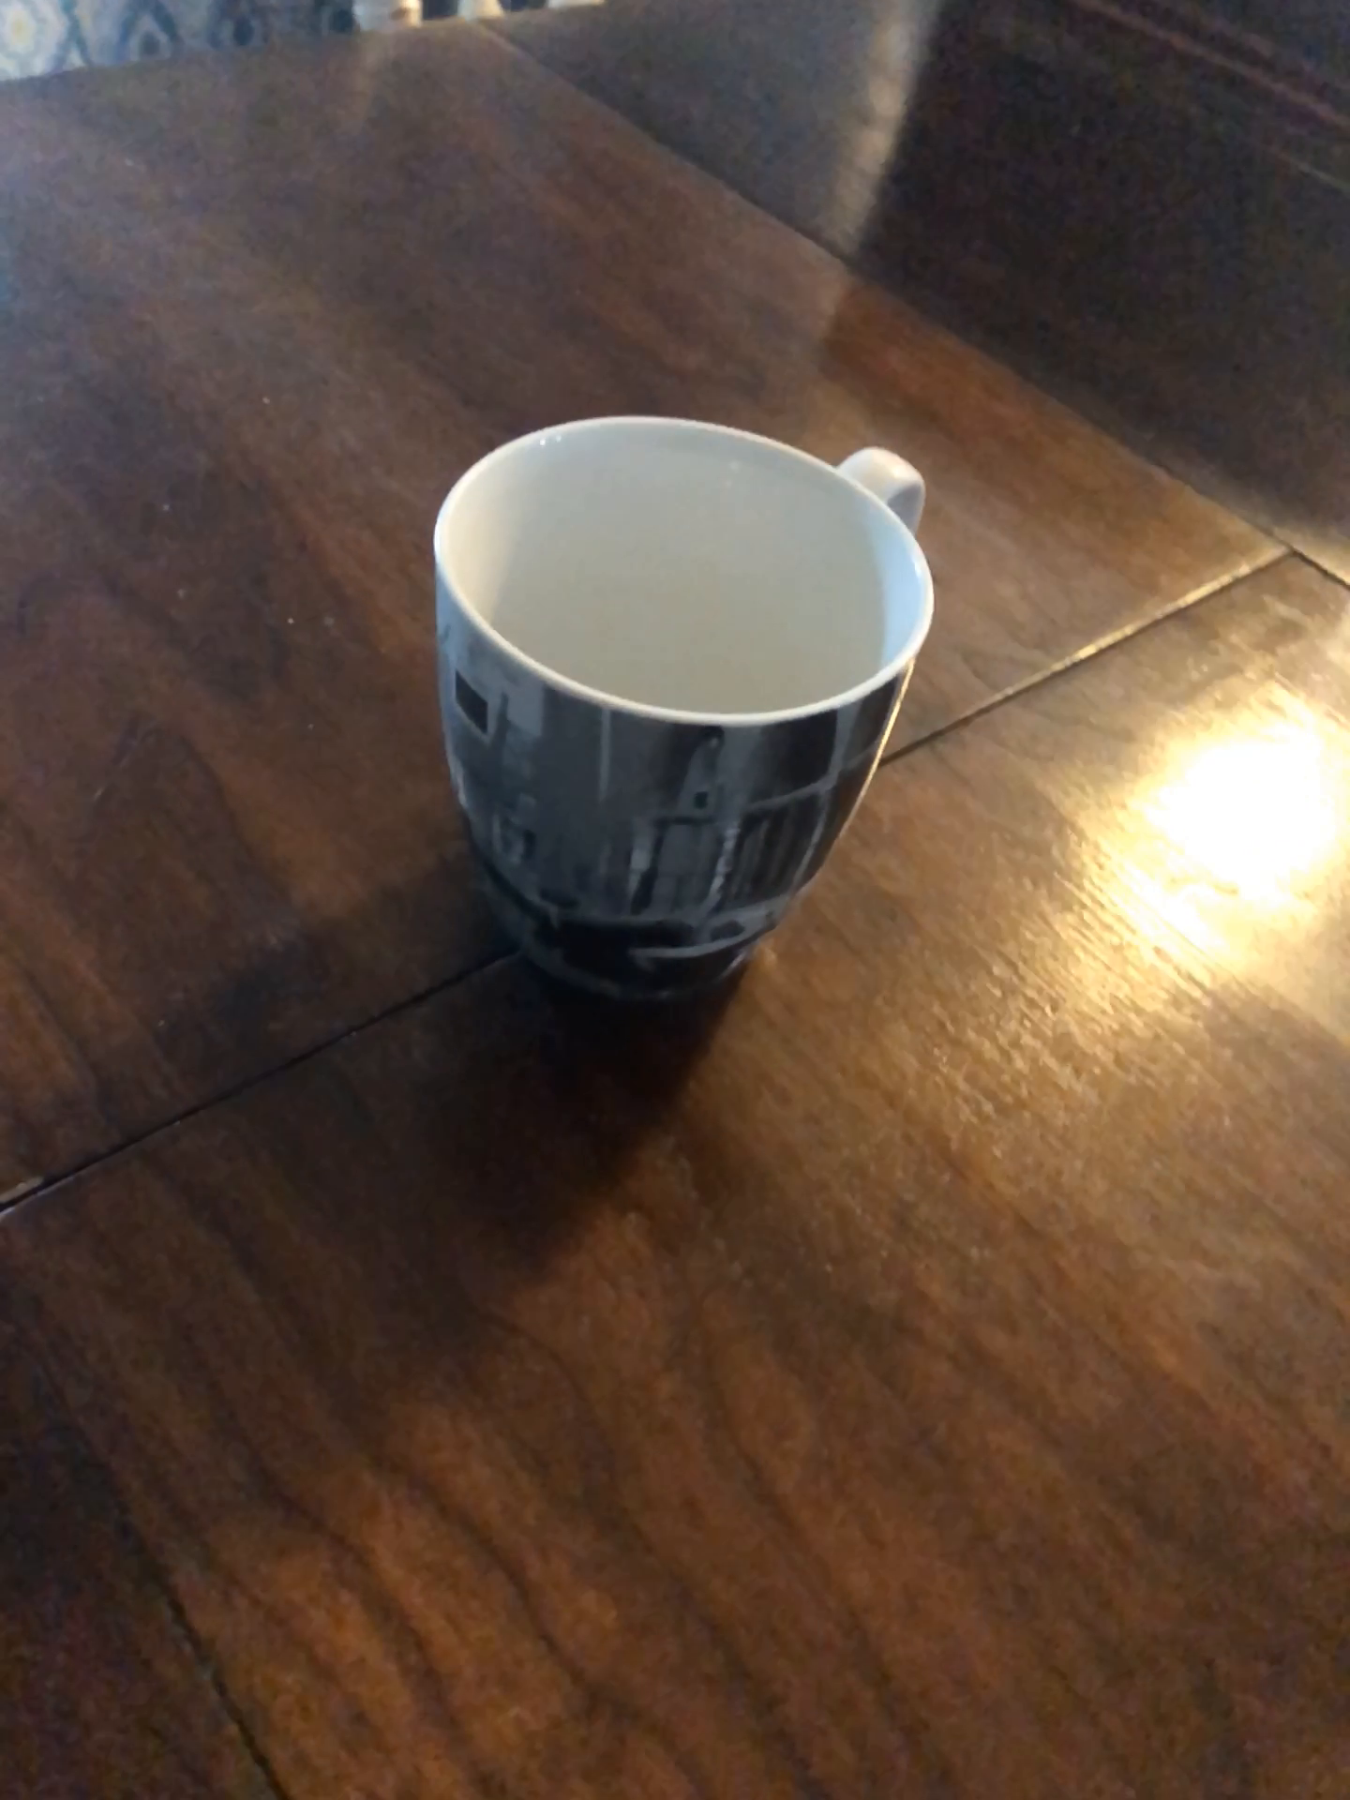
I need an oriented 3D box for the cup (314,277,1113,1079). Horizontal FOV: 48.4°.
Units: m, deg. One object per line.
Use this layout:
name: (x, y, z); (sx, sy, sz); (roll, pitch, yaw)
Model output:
cup: (0.010, -0.056, 0.324); (0.100, 0.080, 0.140); (30, 50, 16)
